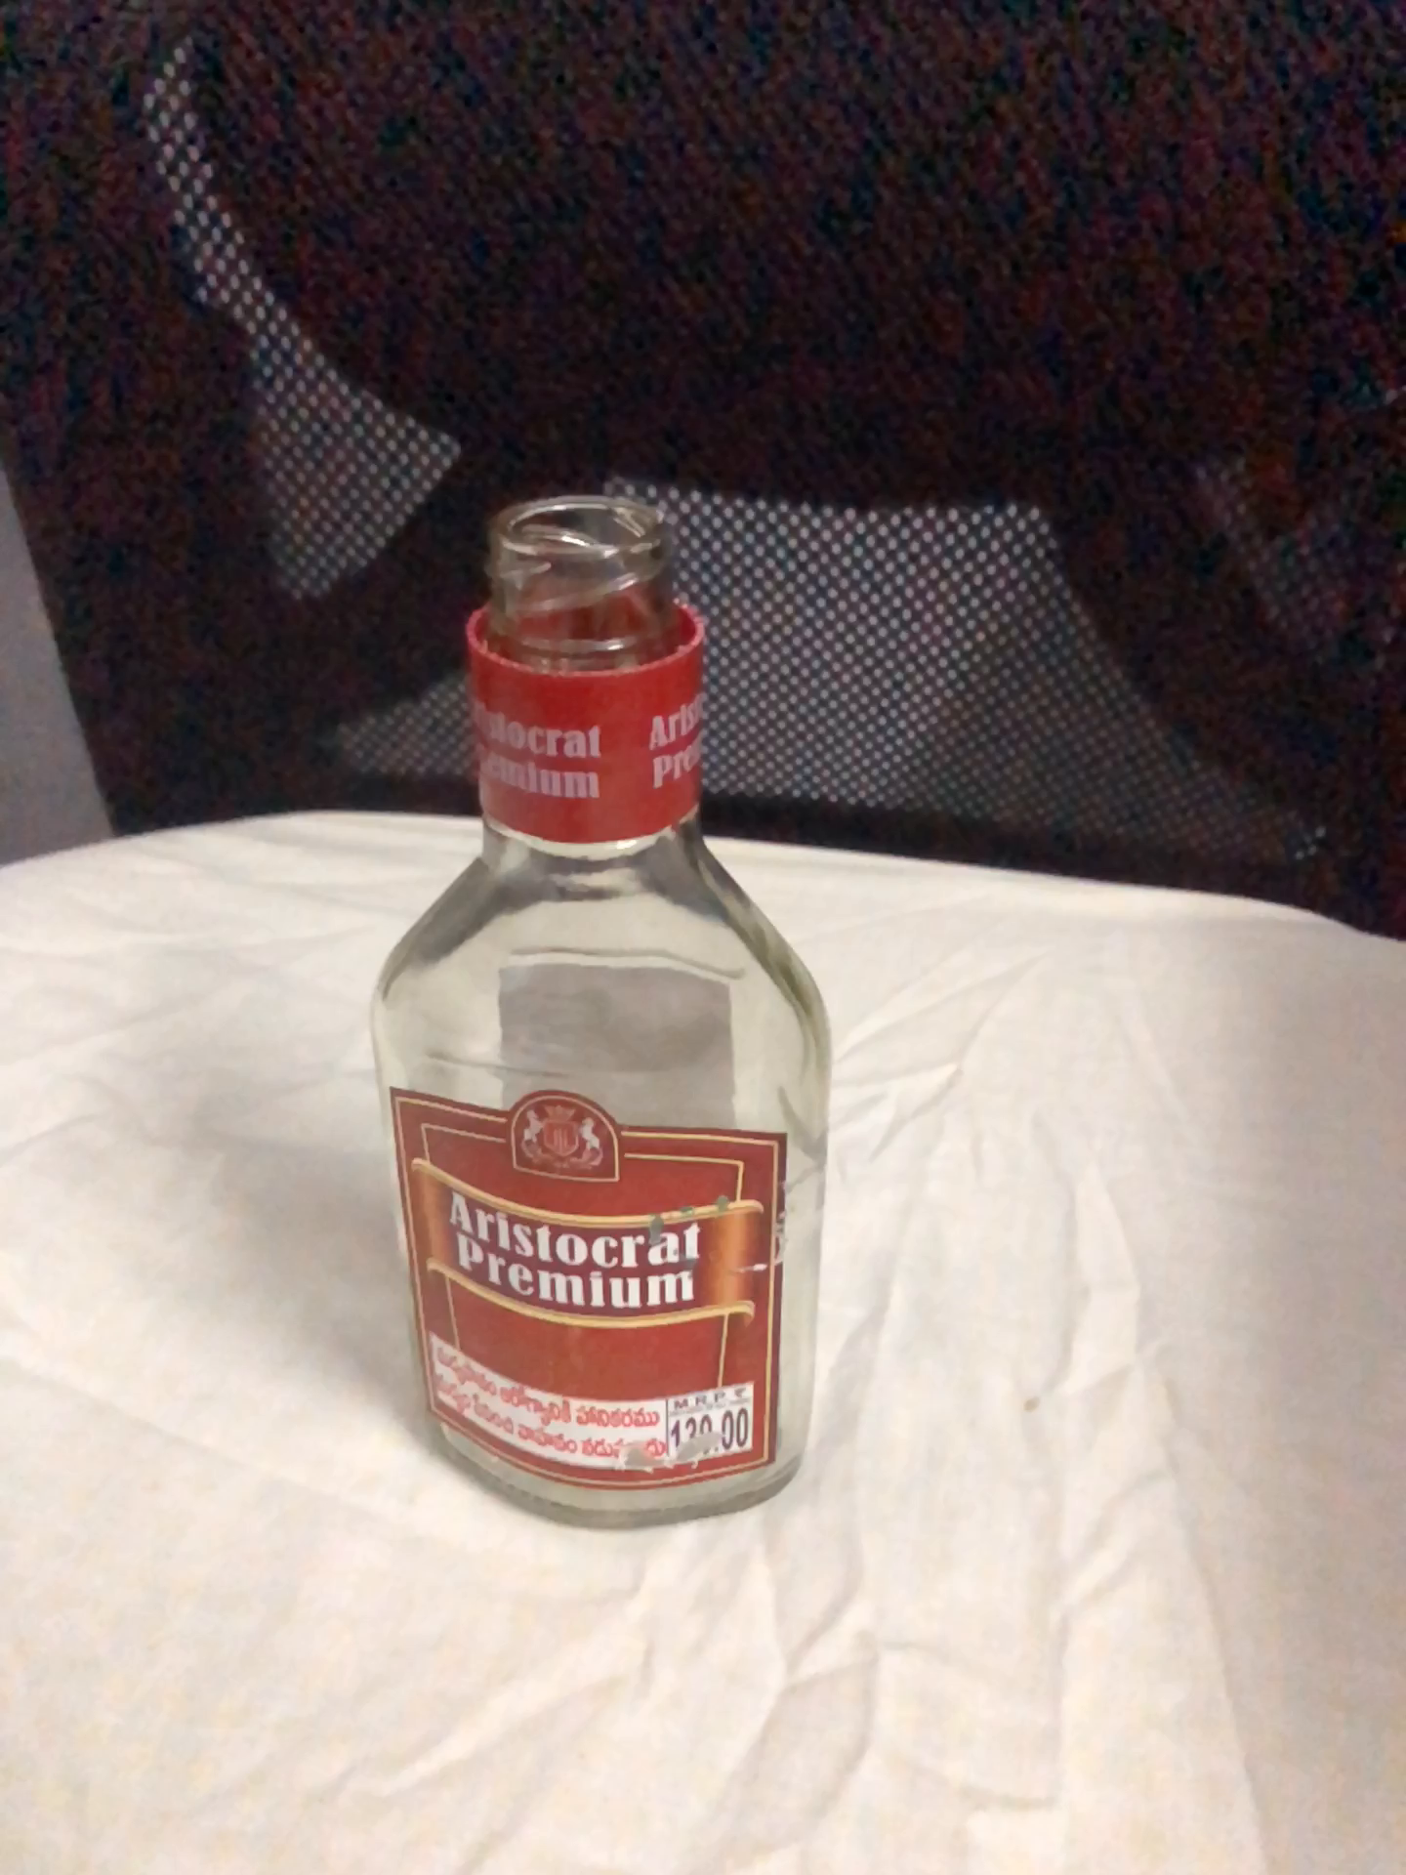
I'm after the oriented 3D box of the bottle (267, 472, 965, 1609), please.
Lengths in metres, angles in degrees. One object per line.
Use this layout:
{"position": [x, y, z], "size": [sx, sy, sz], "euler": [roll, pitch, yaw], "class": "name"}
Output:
{"position": [-0.011, 0.026, 0.244], "size": [0.080, 0.179, 0.040], "euler": [7, 34, 8], "class": "bottle"}
